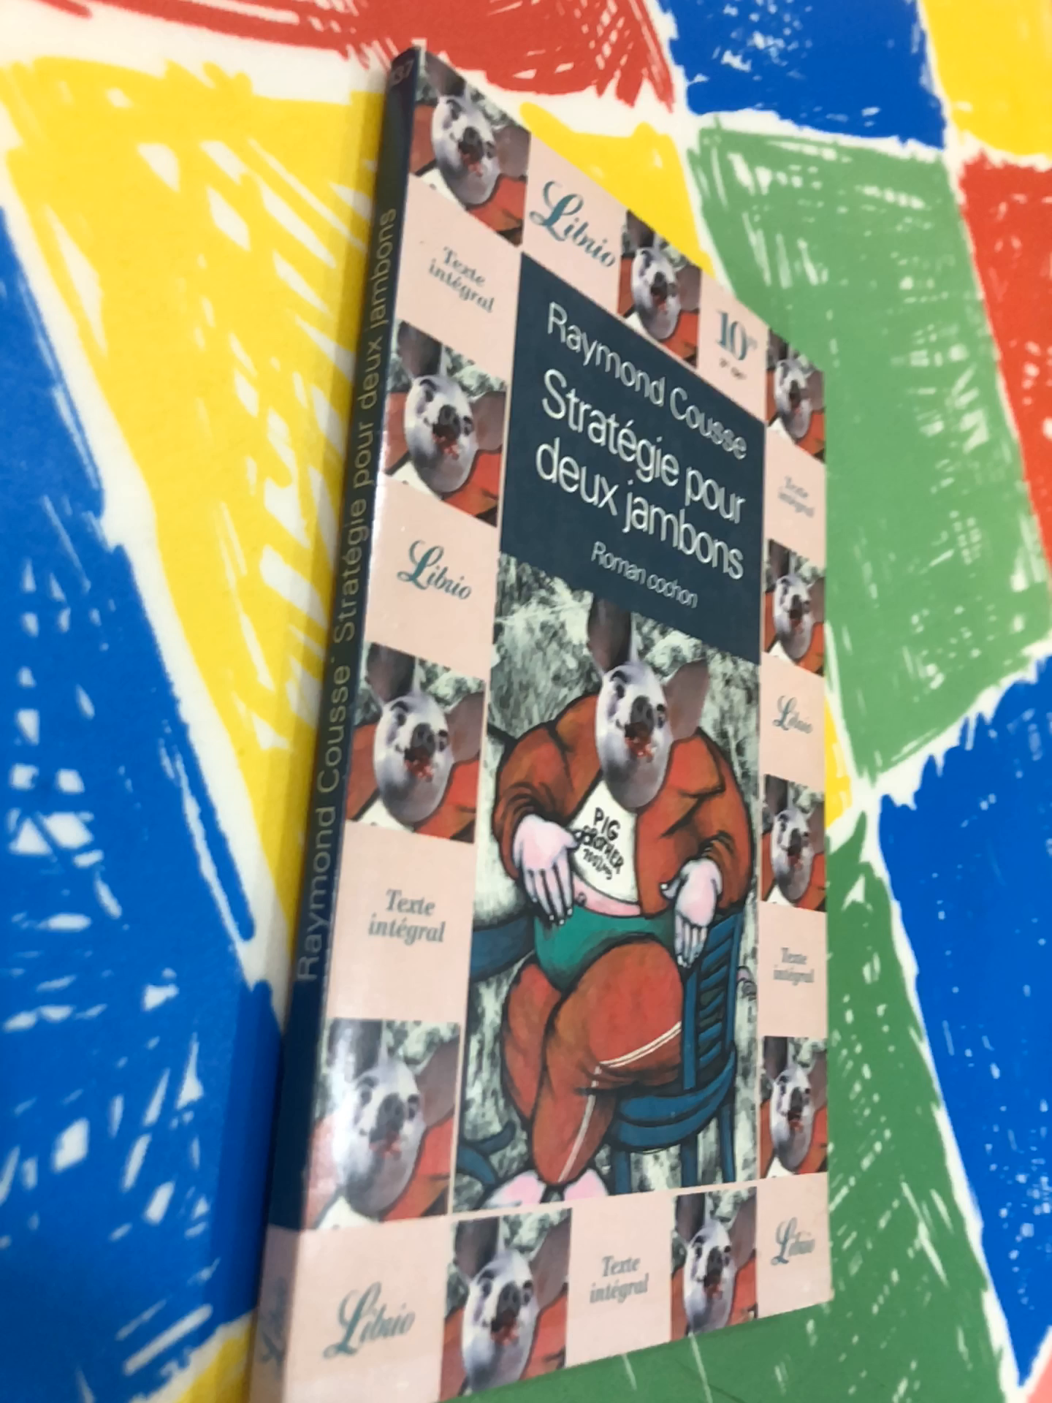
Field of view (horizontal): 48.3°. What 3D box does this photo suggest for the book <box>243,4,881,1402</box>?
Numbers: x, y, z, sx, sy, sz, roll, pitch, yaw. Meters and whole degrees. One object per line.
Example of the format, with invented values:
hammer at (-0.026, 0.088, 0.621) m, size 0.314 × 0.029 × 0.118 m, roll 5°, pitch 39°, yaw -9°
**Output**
book at (0.022, 0.005, 0.204) m, size 0.131 × 0.013 × 0.197 m, roll 17°, pitch 70°, yaw -44°
